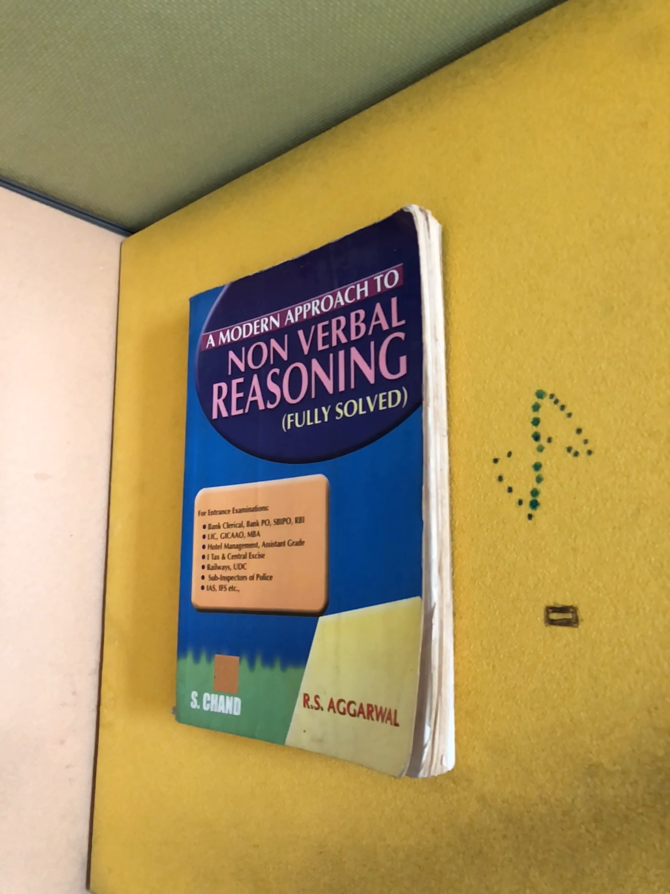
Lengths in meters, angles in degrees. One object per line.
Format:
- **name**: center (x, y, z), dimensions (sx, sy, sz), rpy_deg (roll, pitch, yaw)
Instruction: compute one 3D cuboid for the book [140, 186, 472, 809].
- **book**: center (-0.022, 0.023, 0.355), dimensions (0.171, 0.040, 0.240), rpy_deg (-9, 76, 42)
